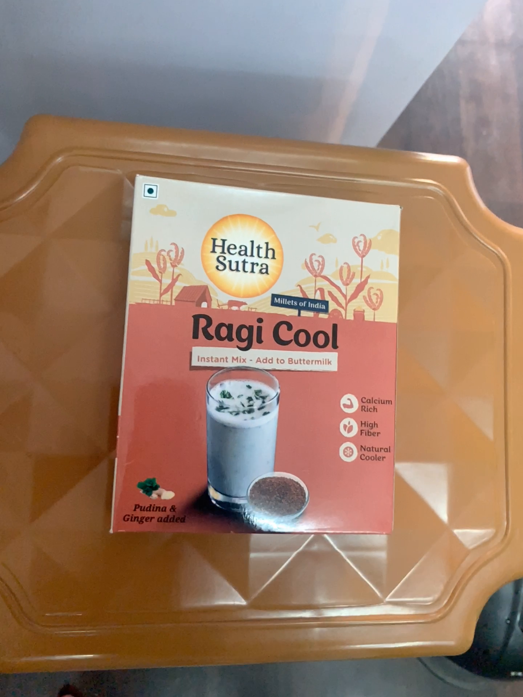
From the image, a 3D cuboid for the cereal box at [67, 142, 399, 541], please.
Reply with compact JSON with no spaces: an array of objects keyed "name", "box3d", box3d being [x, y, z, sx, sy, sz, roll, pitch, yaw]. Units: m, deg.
[{"name":"cereal box","box3d":[-0.010,-0.001,0.261,0.140,0.040,0.170,3,85,-8]}]
